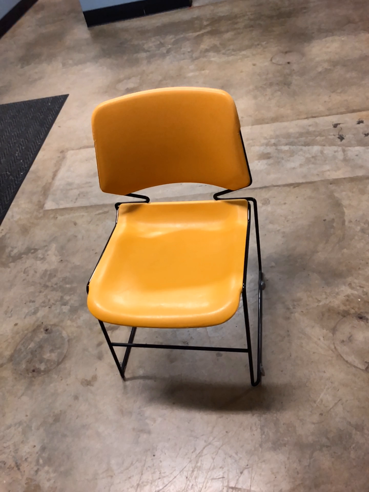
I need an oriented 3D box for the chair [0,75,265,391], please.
[{"bbox_3d":[-0.039,0.009,1.258,0.530,0.795,0.526,-2,46,13],"label":"chair"}]
